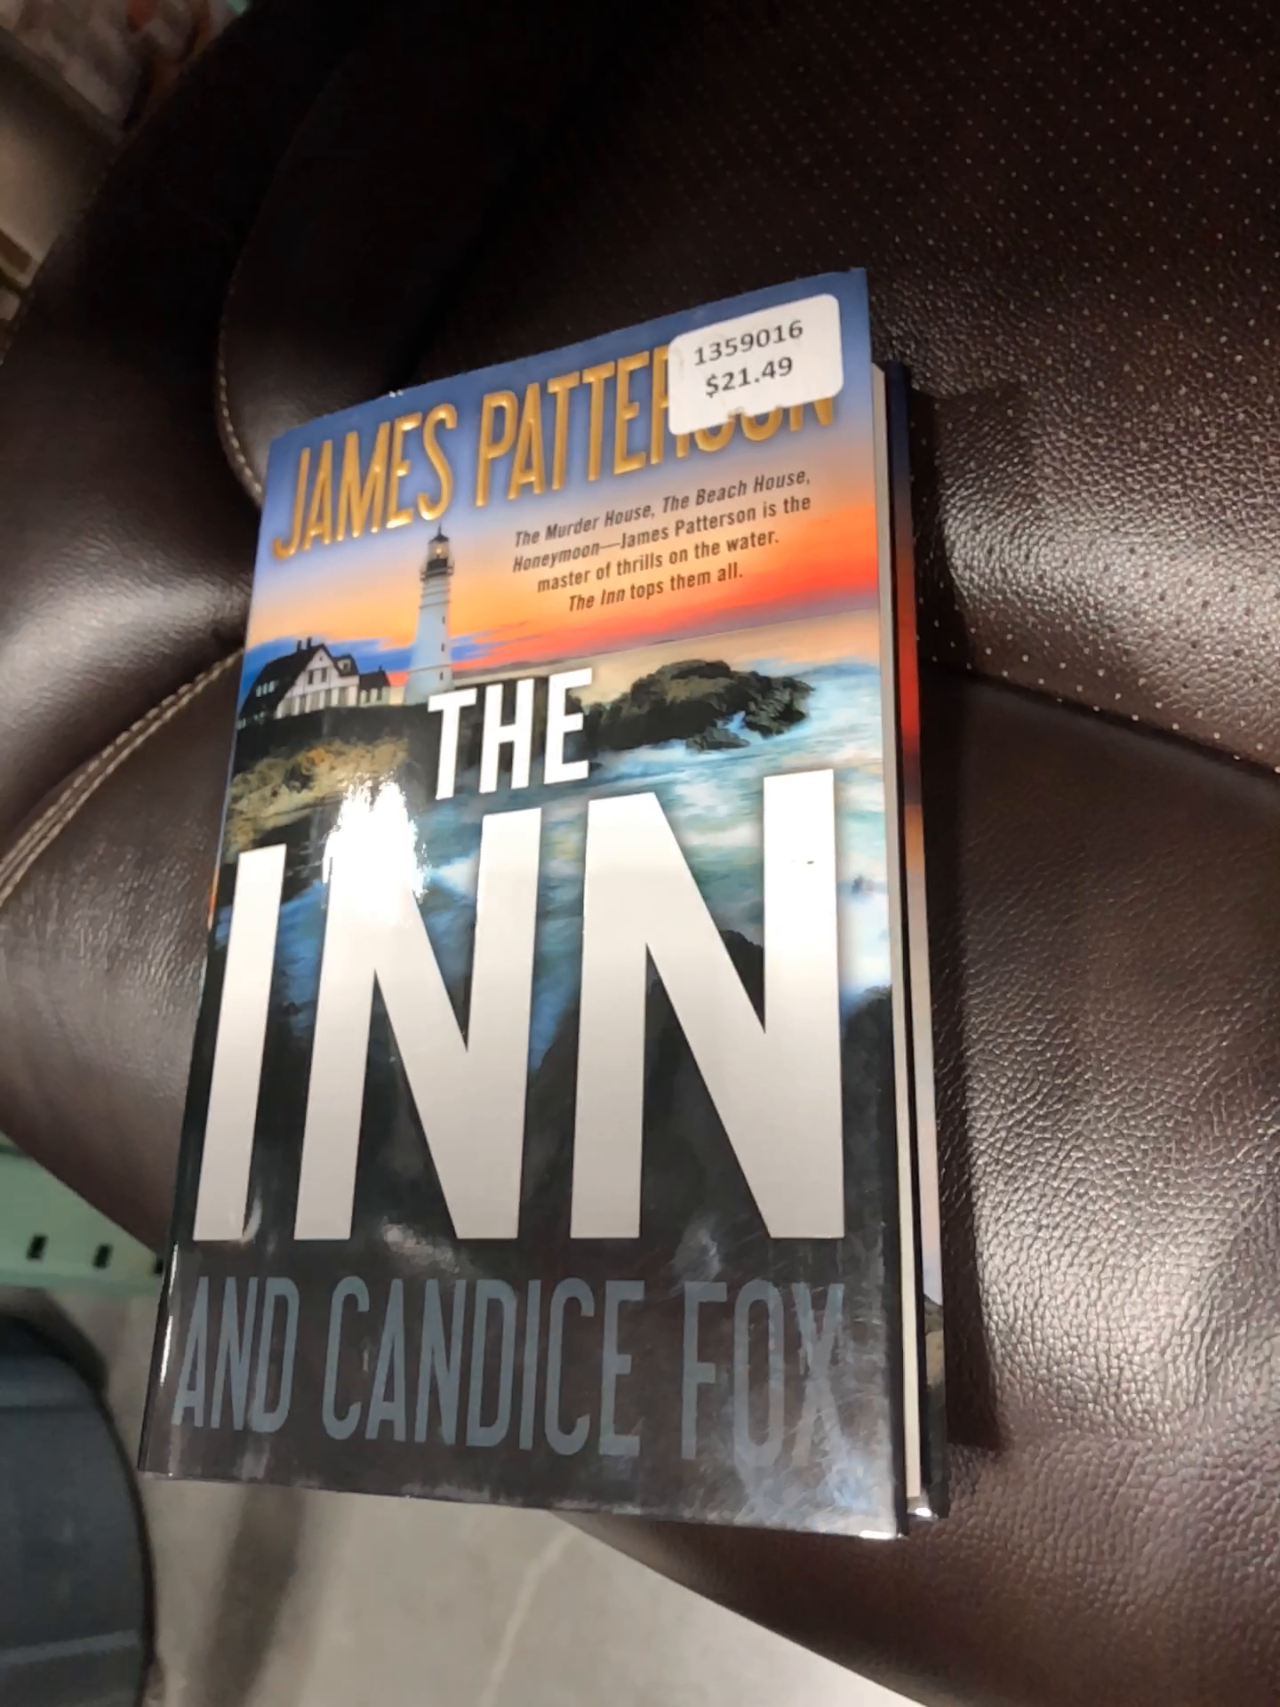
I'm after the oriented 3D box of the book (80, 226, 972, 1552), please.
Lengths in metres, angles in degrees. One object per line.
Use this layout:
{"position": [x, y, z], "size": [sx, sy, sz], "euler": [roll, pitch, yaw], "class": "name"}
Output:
{"position": [-0.024, 0.004, 0.310], "size": [0.170, 0.040, 0.250], "euler": [-8, 69, 25], "class": "book"}
